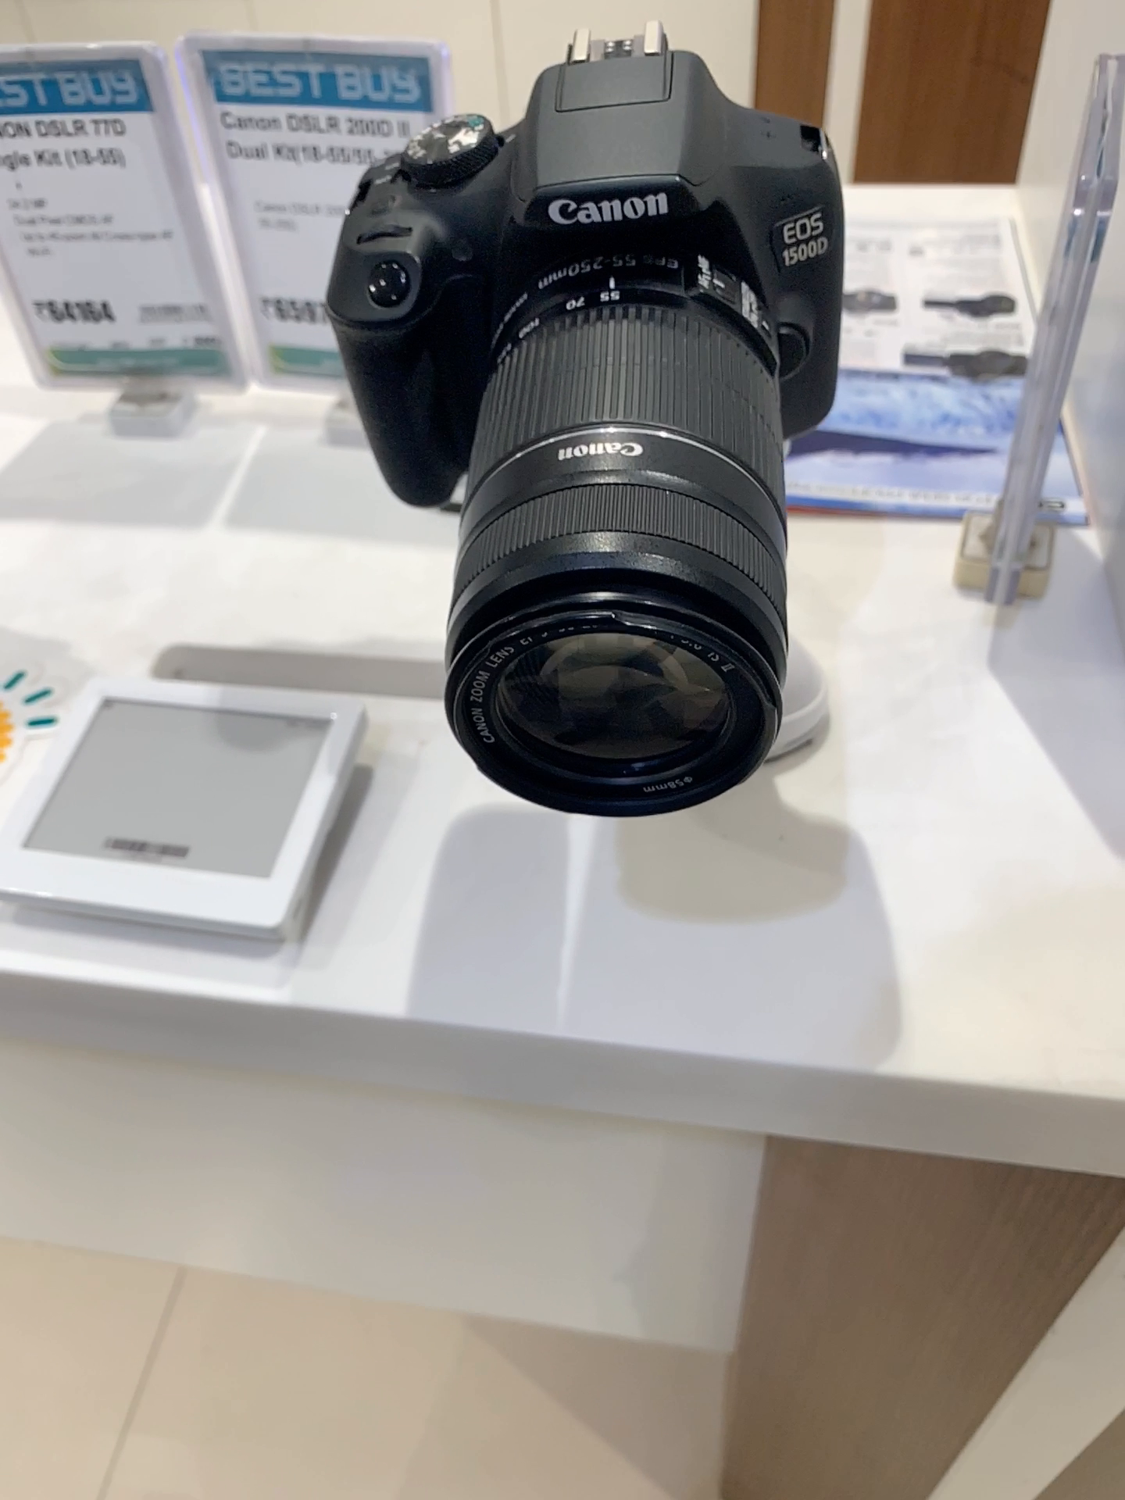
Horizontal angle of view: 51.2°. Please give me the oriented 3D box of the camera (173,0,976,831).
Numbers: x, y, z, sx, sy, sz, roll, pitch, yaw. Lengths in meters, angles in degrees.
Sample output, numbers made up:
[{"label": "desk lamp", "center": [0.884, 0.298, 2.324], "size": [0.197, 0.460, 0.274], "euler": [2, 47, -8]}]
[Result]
[{"label": "camera", "center": [0.006, -0.077, 0.255], "size": [0.117, 0.090, 0.164], "euler": [-1, 54, 5]}]
